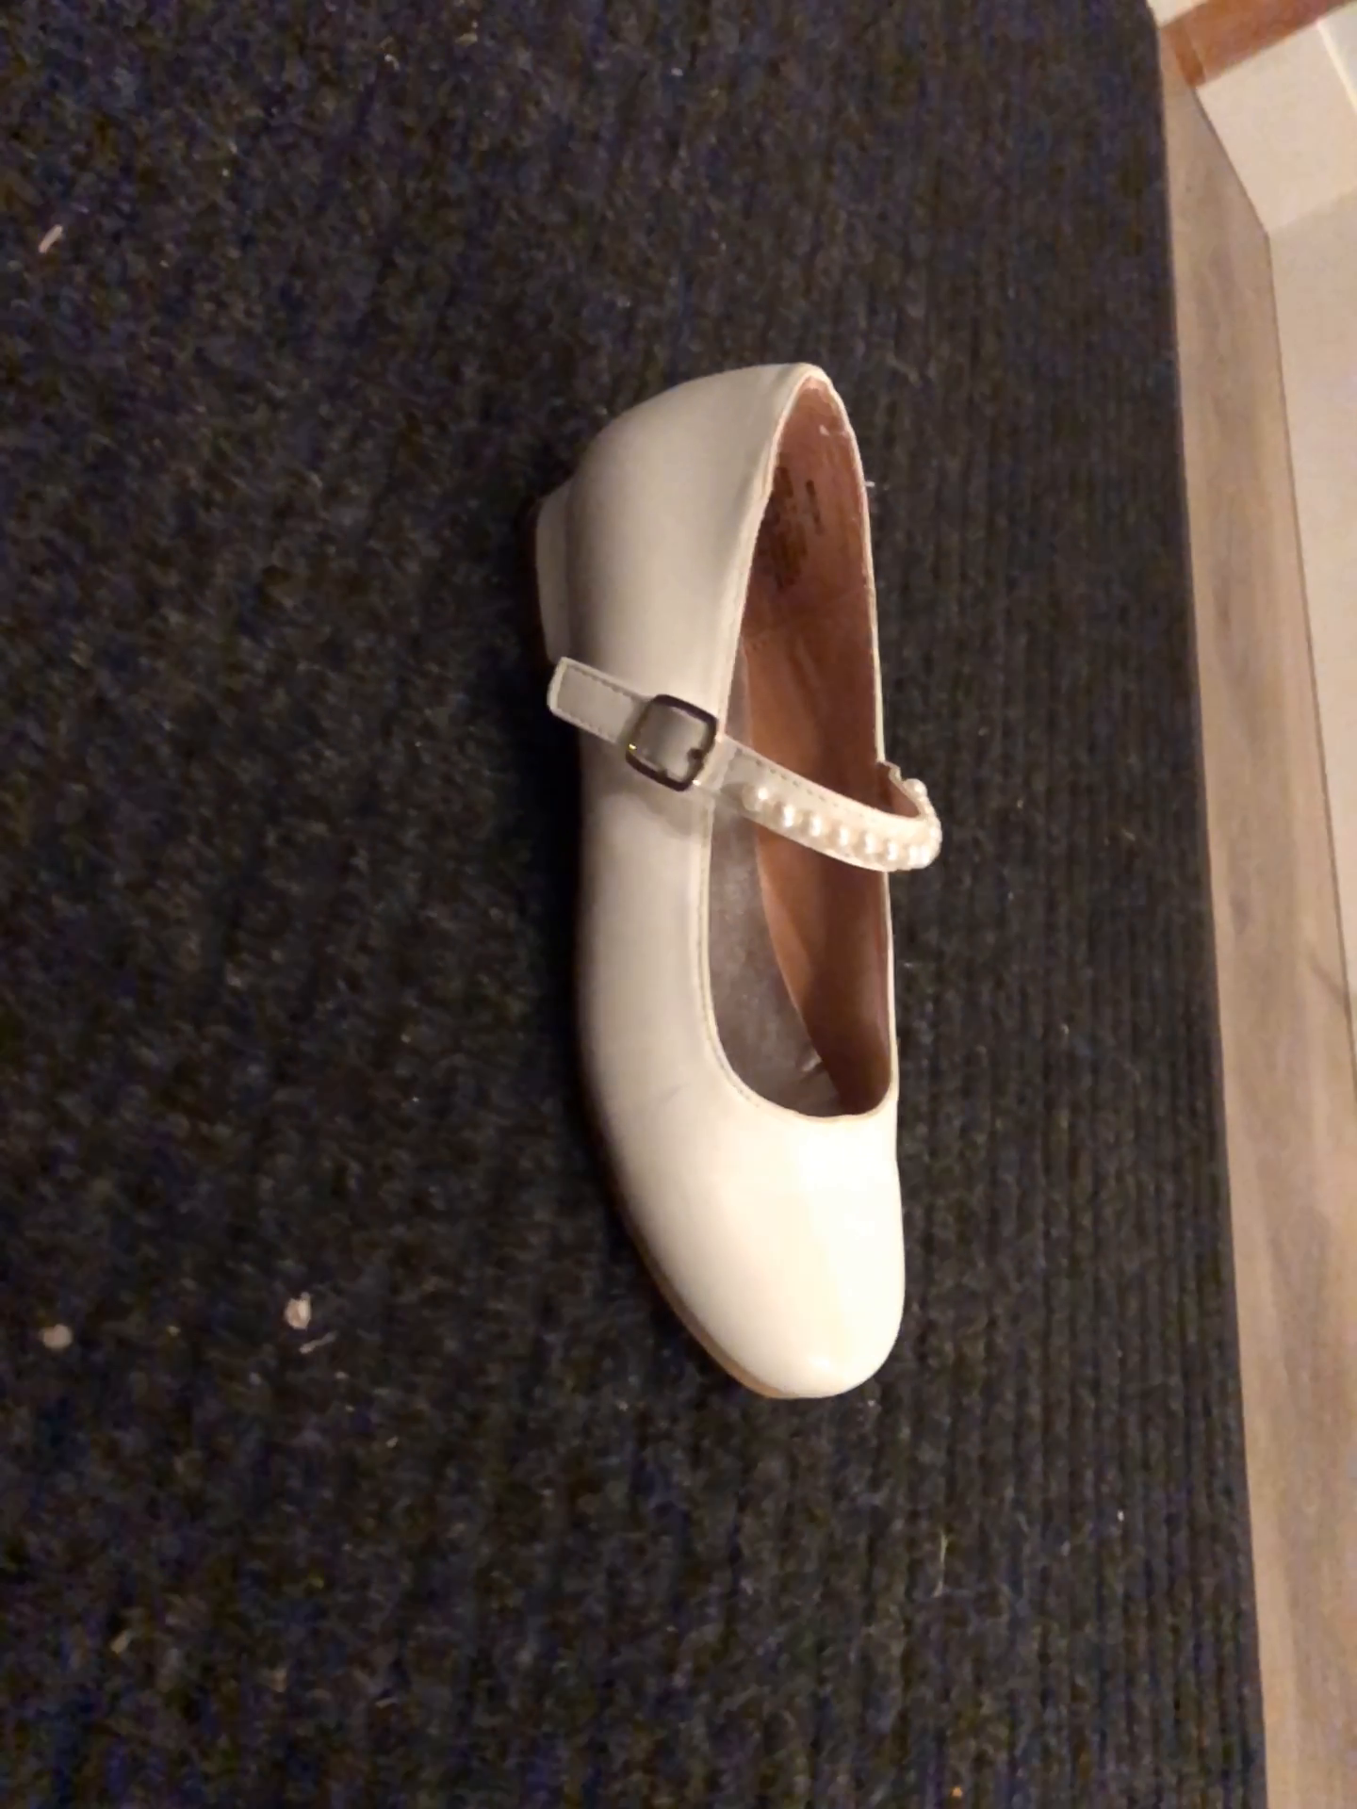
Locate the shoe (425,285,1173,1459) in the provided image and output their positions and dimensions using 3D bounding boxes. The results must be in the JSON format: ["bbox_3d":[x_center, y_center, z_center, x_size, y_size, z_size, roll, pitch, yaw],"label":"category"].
[{"bbox_3d":[0.023,-0.003,0.308,0.081,0.080,0.200,0,75,-54],"label":"shoe"}]
